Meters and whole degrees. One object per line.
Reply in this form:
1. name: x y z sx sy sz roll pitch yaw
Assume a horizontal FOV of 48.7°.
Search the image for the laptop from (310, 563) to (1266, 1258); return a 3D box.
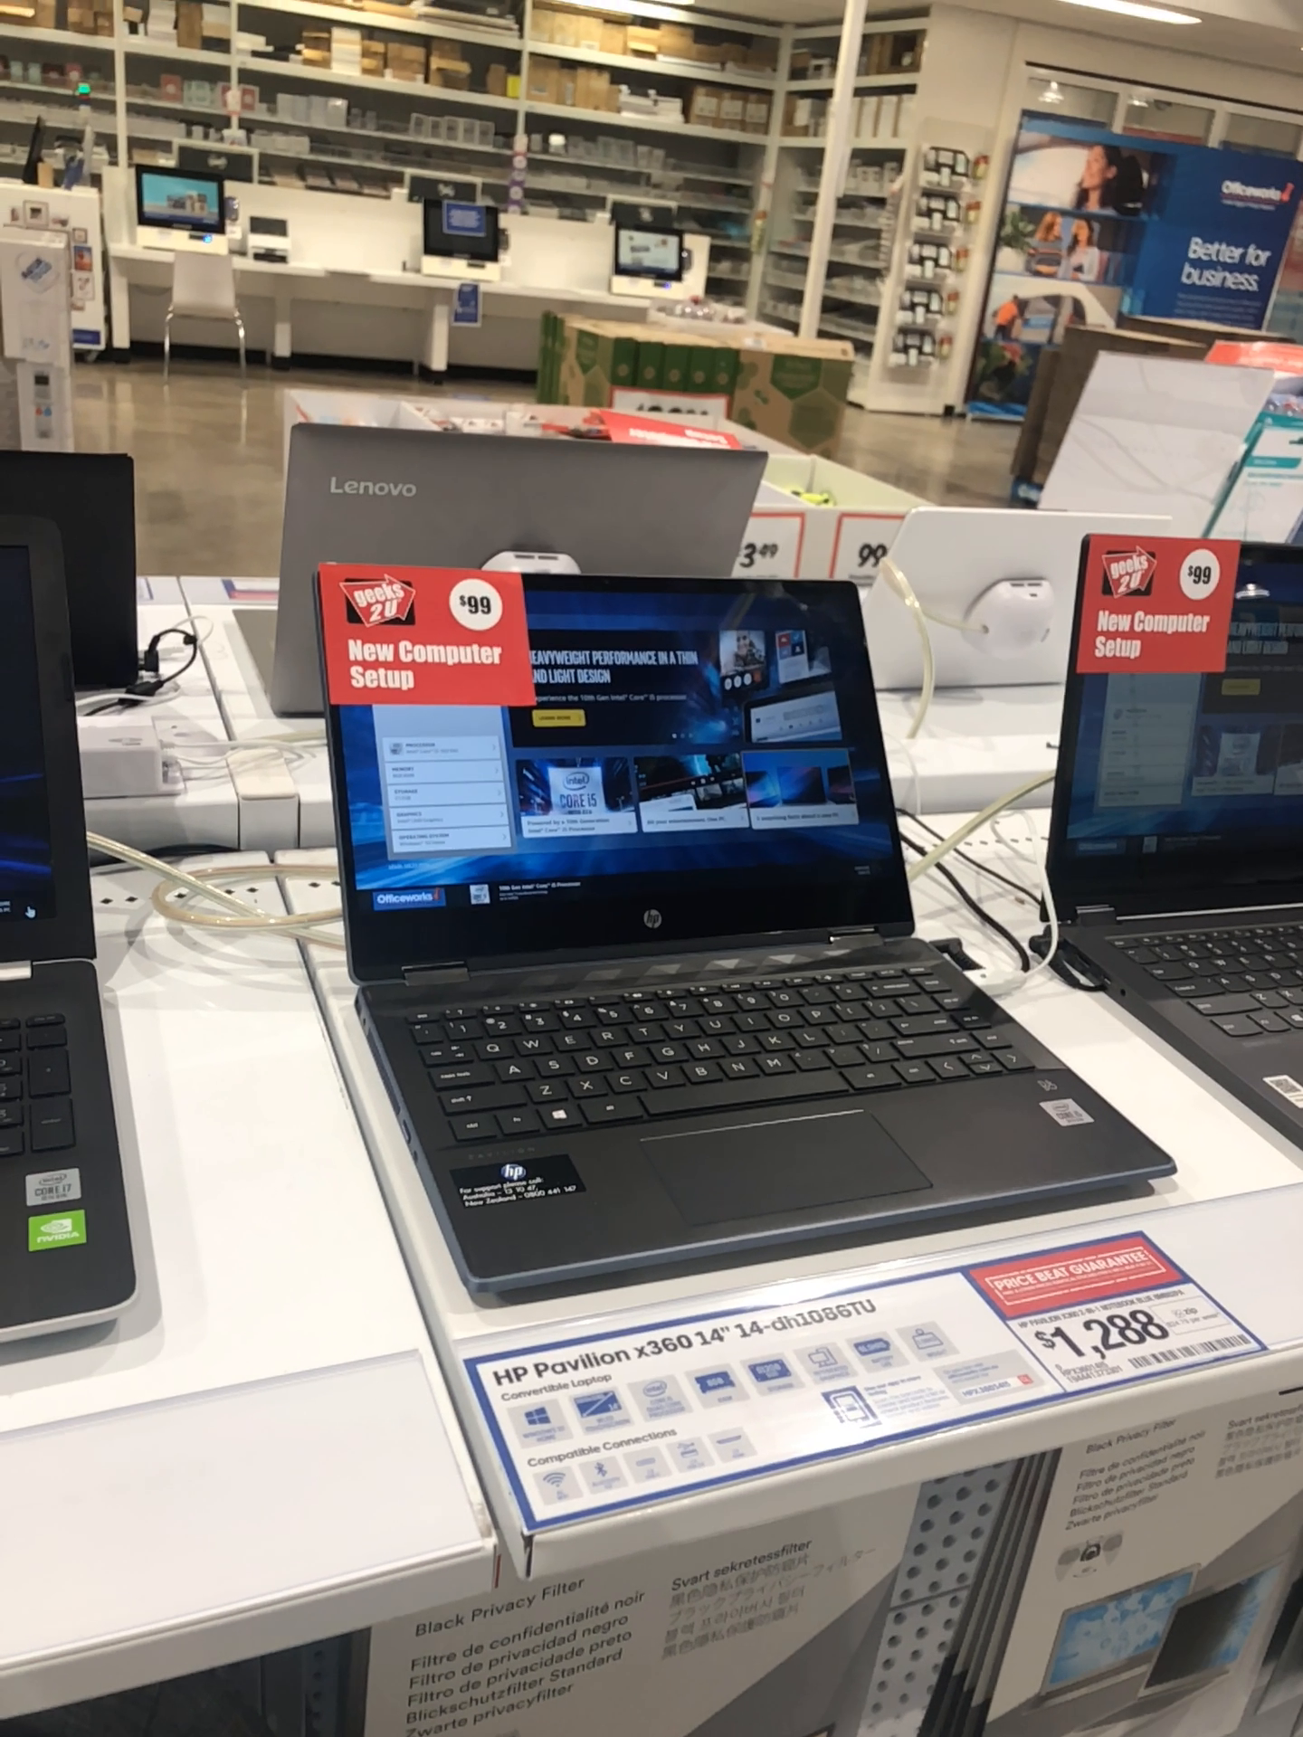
1. laptop: 0.026 -0.017 0.689 0.315 0.165 0.350 -3 26 -23
